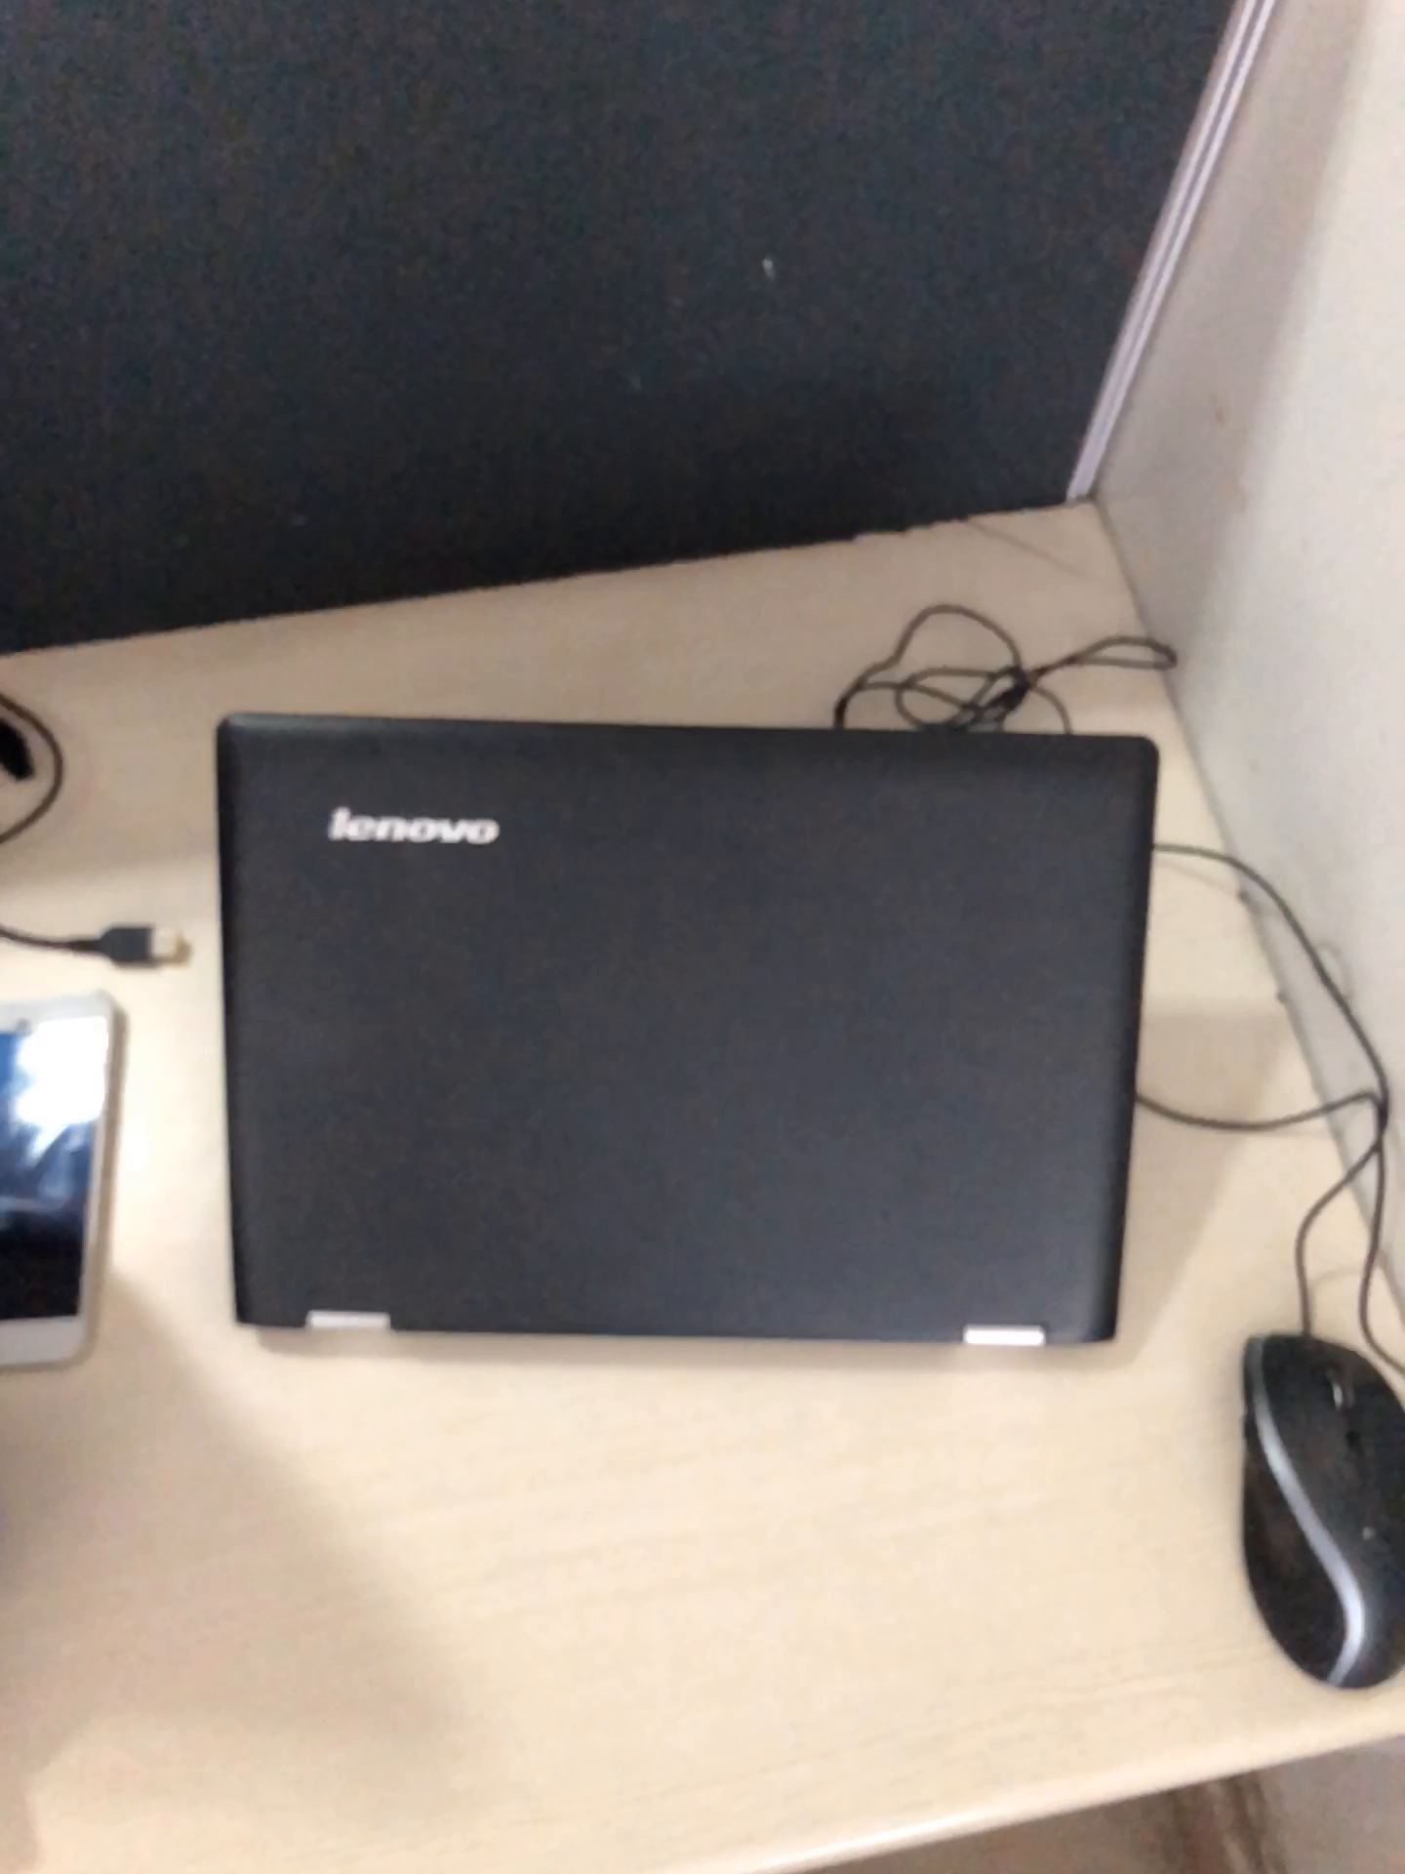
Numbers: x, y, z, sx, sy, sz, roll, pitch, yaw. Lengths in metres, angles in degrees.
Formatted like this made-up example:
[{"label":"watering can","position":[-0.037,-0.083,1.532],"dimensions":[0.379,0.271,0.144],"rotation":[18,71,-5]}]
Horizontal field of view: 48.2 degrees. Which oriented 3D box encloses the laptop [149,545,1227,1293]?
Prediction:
[{"label":"laptop","position":[-0.005,0.003,0.563],"dimensions":[0.323,0.143,0.205],"rotation":[1,71,-1]}]
